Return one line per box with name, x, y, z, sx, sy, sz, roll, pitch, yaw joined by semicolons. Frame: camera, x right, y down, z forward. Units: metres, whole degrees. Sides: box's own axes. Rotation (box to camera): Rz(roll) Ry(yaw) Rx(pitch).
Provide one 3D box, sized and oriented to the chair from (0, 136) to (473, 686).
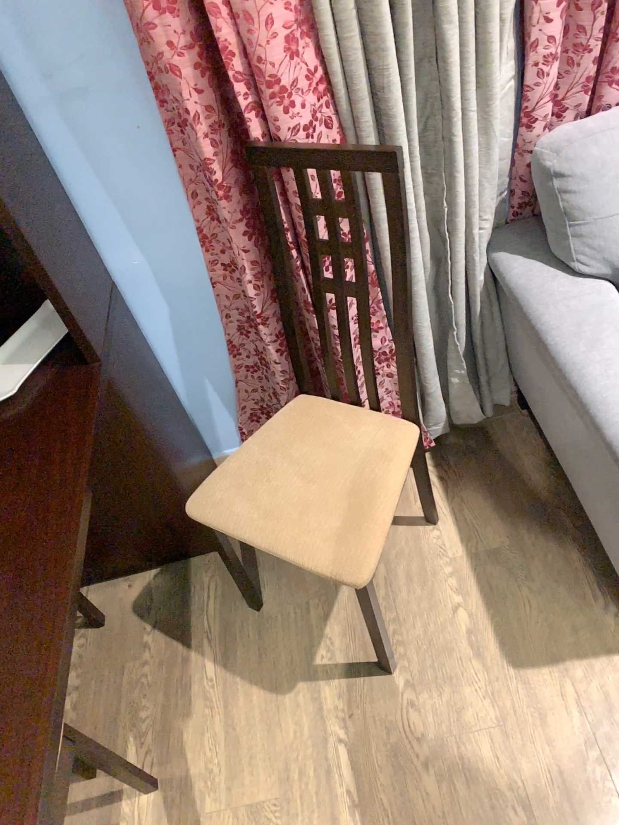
chair;-0.028;0.031;1.296;0.531;0.976;0.511;14;53;29
